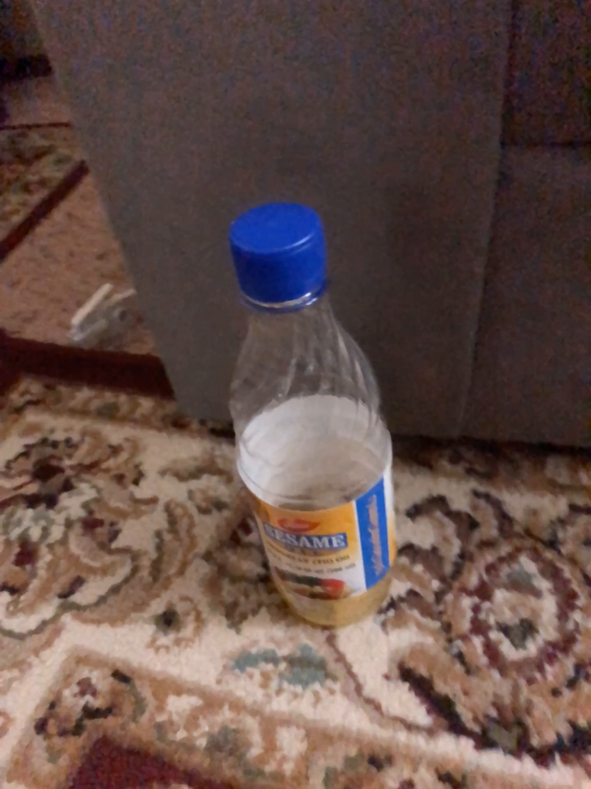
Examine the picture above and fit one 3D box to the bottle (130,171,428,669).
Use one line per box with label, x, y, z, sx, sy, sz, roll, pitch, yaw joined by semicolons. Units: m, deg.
bottle;0.011;0.022;0.264;0.070;0.199;0.070;-6;41;6
